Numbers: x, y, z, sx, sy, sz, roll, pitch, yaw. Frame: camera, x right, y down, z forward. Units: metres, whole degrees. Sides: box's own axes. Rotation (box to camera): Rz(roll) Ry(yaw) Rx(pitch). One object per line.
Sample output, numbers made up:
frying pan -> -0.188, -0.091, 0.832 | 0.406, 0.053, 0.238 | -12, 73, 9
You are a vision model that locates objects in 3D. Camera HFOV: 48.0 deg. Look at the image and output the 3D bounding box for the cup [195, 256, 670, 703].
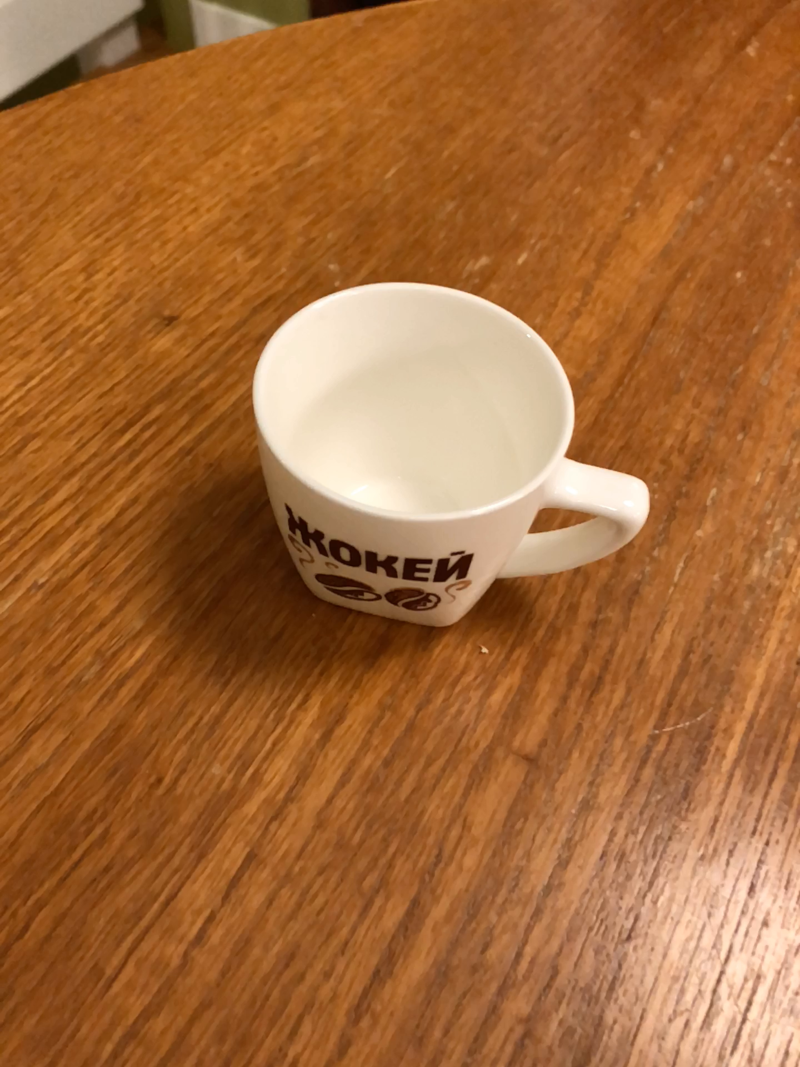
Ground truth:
cup -> 0.008, -0.011, 0.184 | 0.075, 0.047, 0.060 | 14, 57, 6
